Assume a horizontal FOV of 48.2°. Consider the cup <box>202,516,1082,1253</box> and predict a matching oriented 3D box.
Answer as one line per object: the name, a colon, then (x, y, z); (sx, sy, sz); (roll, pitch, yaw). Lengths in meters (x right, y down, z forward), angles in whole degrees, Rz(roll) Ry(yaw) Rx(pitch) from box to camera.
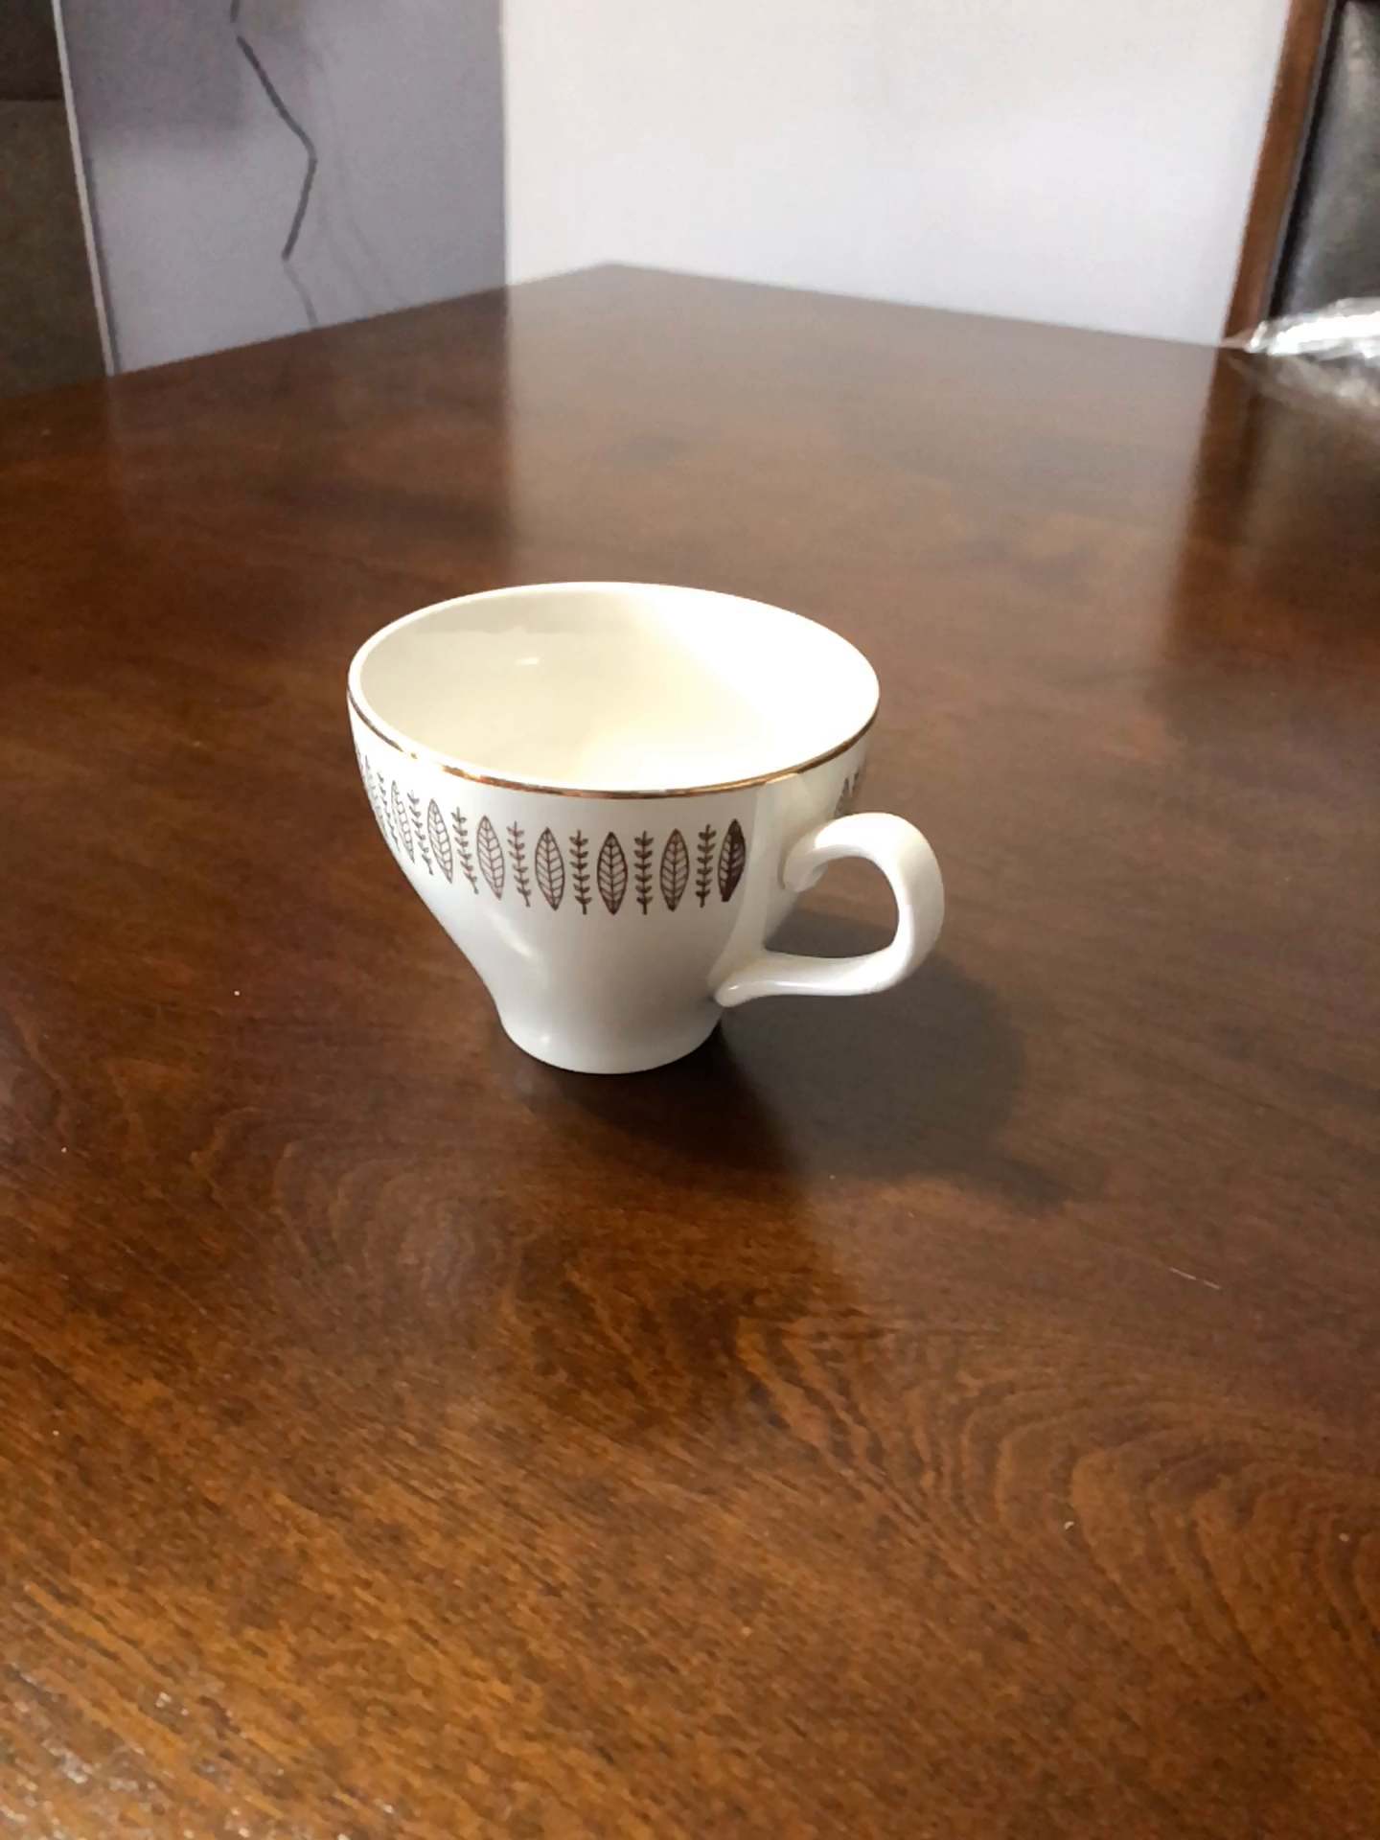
cup: (-0.006, -0.015, 0.250); (0.100, 0.060, 0.090); (21, 36, 27)
